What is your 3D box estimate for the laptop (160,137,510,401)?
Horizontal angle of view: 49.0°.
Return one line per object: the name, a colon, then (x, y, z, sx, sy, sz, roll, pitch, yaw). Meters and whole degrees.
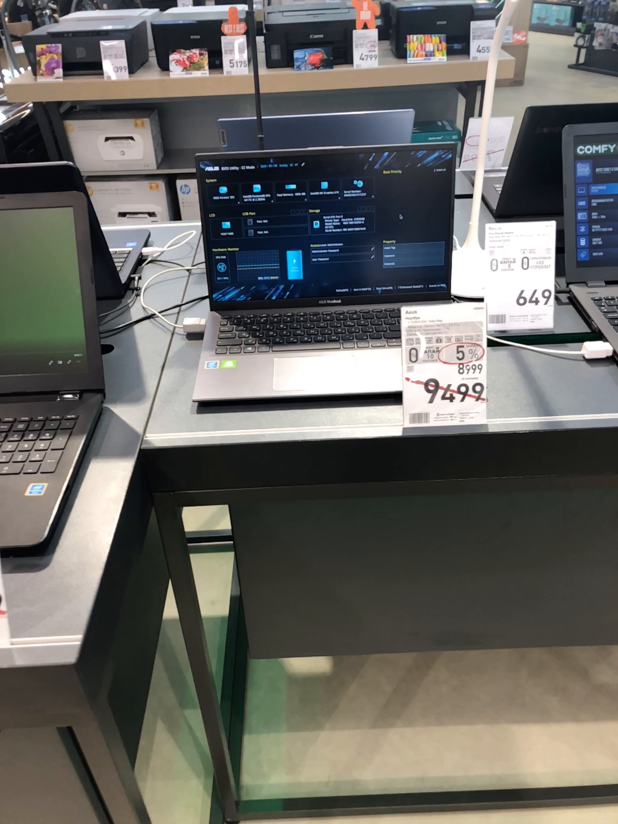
laptop: (0.025, -0.191, 0.861, 0.355, 0.200, 0.288, -3, 37, 3)
